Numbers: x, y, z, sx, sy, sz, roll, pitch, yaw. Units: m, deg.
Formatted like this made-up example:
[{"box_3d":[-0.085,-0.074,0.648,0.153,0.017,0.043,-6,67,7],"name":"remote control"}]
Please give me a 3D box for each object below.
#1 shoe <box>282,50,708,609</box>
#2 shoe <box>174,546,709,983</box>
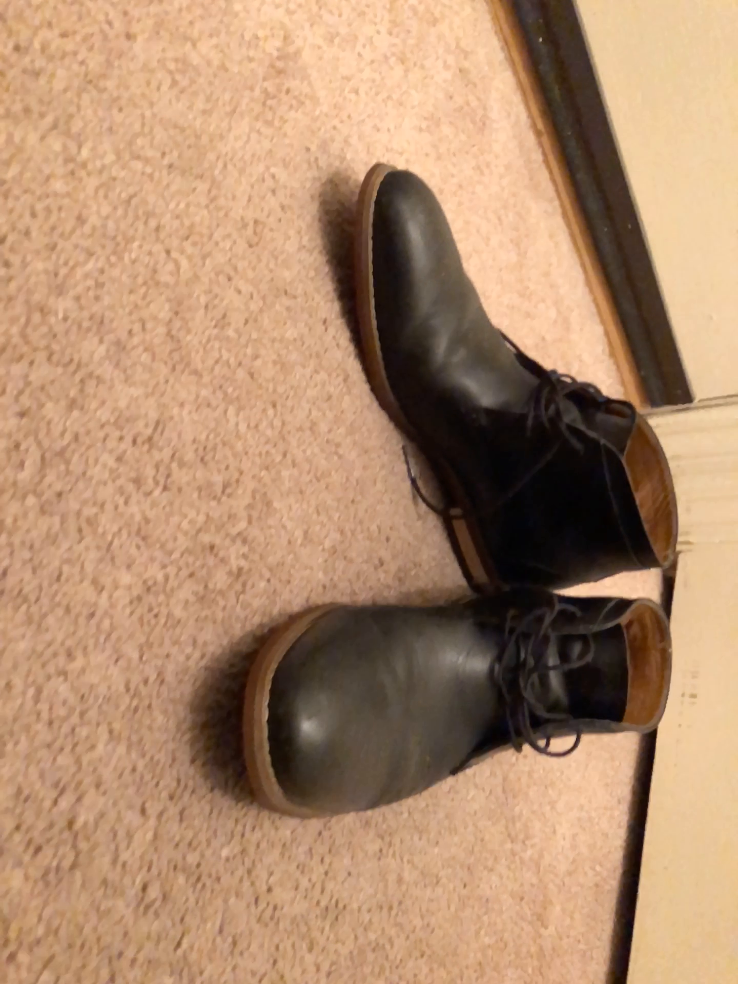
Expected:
[{"box_3d":[0.099,-0.069,0.495,0.303,0.135,0.117,58,41,-34],"name":"shoe"},{"box_3d":[0.067,0.104,0.416,0.304,0.135,0.116,-5,90,-57],"name":"shoe"}]
